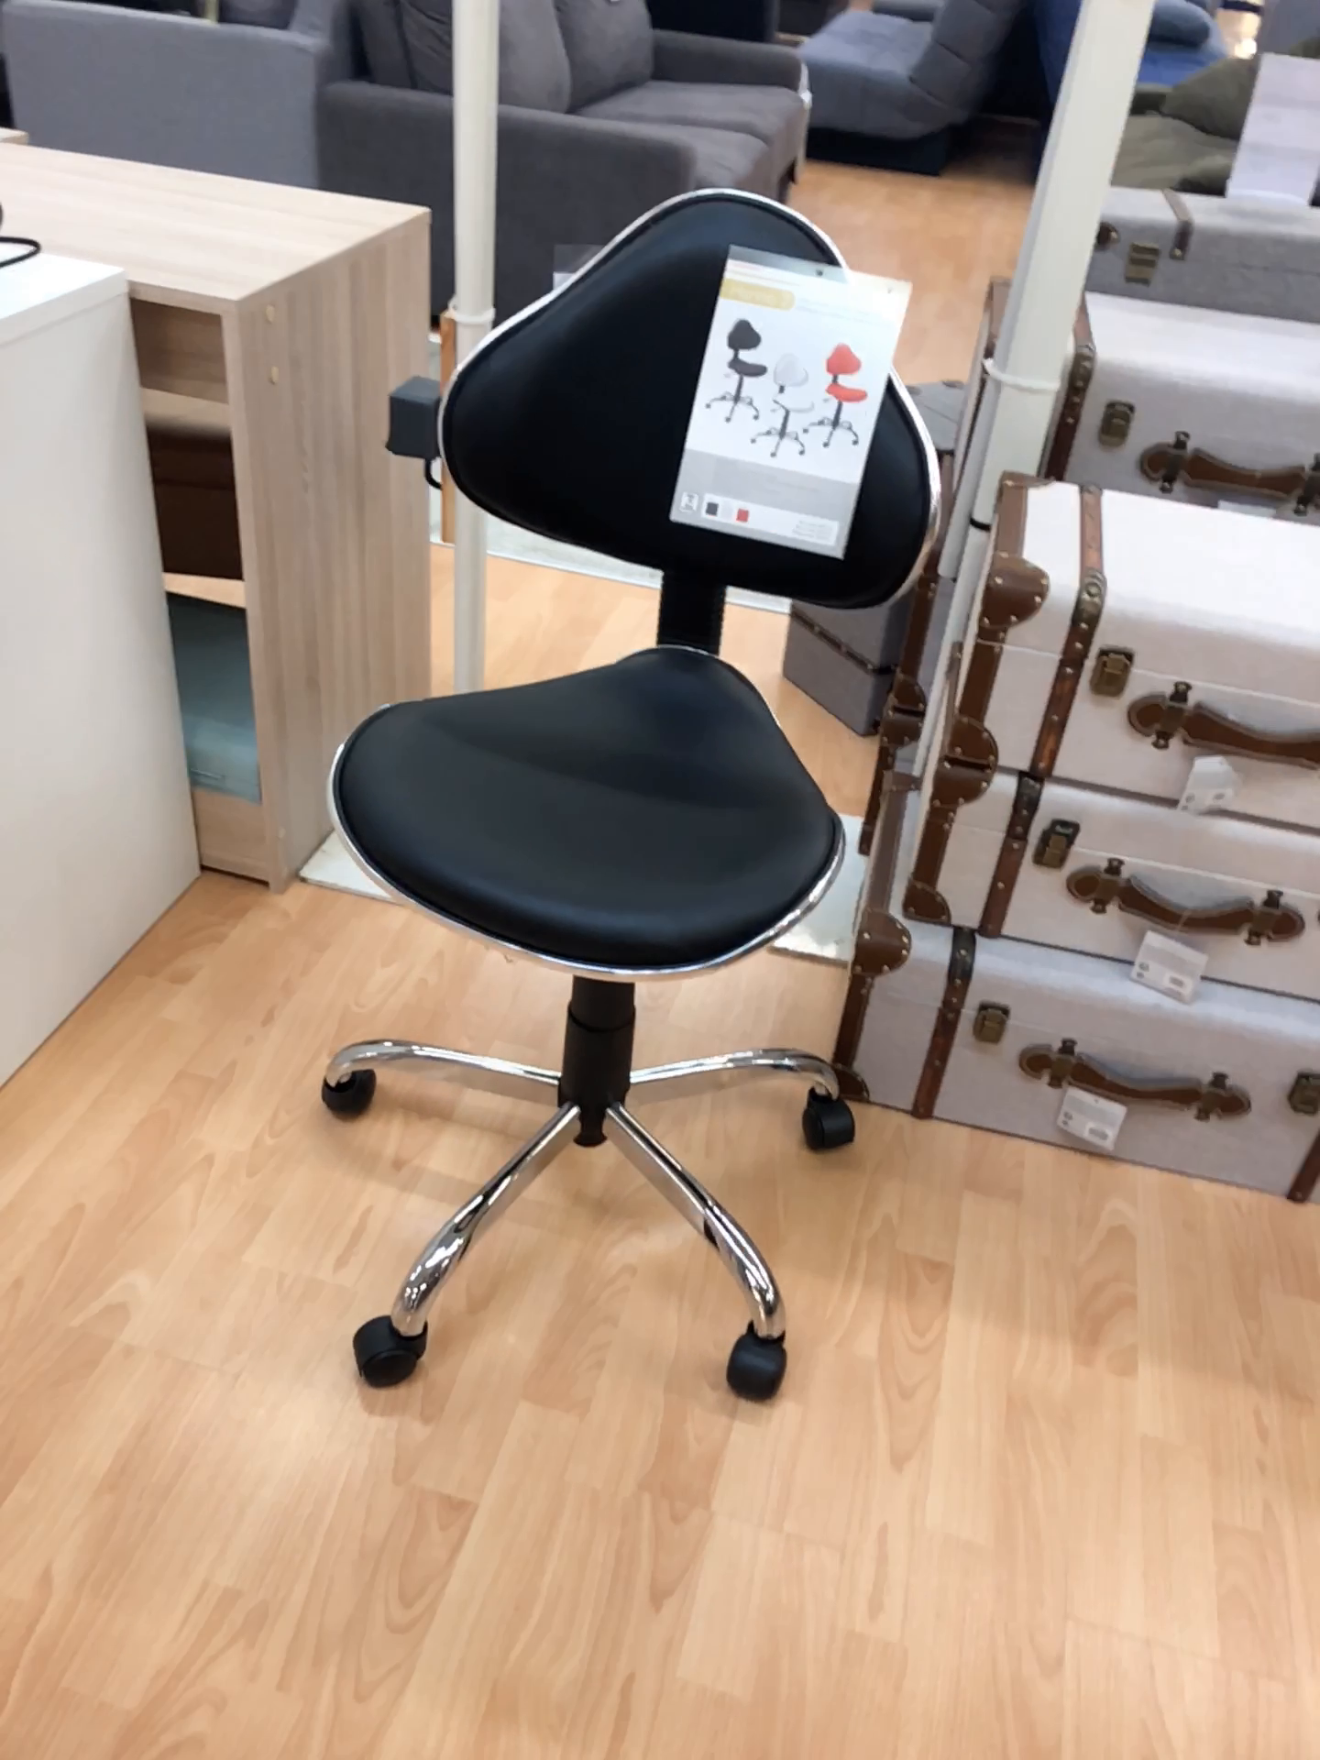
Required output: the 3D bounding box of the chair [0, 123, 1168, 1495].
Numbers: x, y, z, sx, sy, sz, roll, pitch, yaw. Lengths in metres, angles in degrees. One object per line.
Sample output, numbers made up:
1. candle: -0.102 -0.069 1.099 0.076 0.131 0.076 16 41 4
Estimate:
1. chair: -0.039 -0.071 1.200 0.600 0.854 0.614 10 36 5
